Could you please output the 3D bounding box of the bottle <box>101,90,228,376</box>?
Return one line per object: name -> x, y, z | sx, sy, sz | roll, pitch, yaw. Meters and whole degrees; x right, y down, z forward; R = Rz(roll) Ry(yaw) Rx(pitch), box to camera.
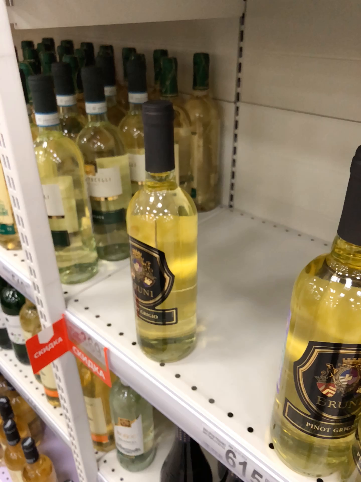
bottle -> -0.013, 0.000, 0.434 | 0.080, 0.288, 0.080 | -1, 31, 0
